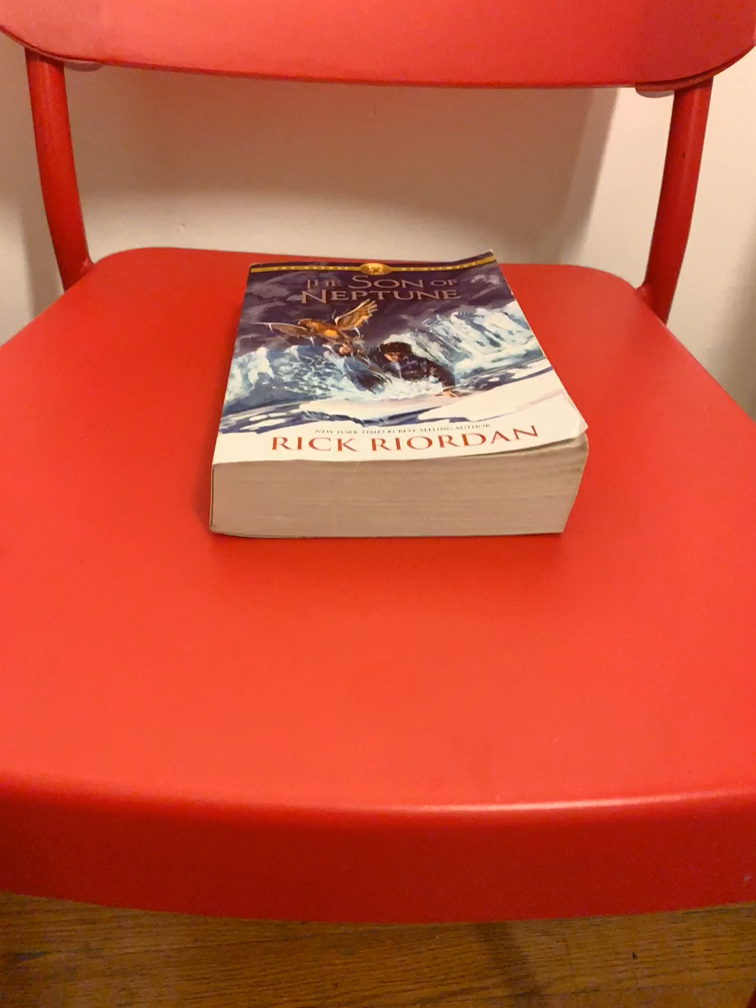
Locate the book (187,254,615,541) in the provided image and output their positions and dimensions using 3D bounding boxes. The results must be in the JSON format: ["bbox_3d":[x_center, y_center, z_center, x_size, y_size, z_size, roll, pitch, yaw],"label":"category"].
[{"bbox_3d":[0.003,-0.058,0.346,0.142,0.040,0.189,0,36,-4],"label":"book"}]
